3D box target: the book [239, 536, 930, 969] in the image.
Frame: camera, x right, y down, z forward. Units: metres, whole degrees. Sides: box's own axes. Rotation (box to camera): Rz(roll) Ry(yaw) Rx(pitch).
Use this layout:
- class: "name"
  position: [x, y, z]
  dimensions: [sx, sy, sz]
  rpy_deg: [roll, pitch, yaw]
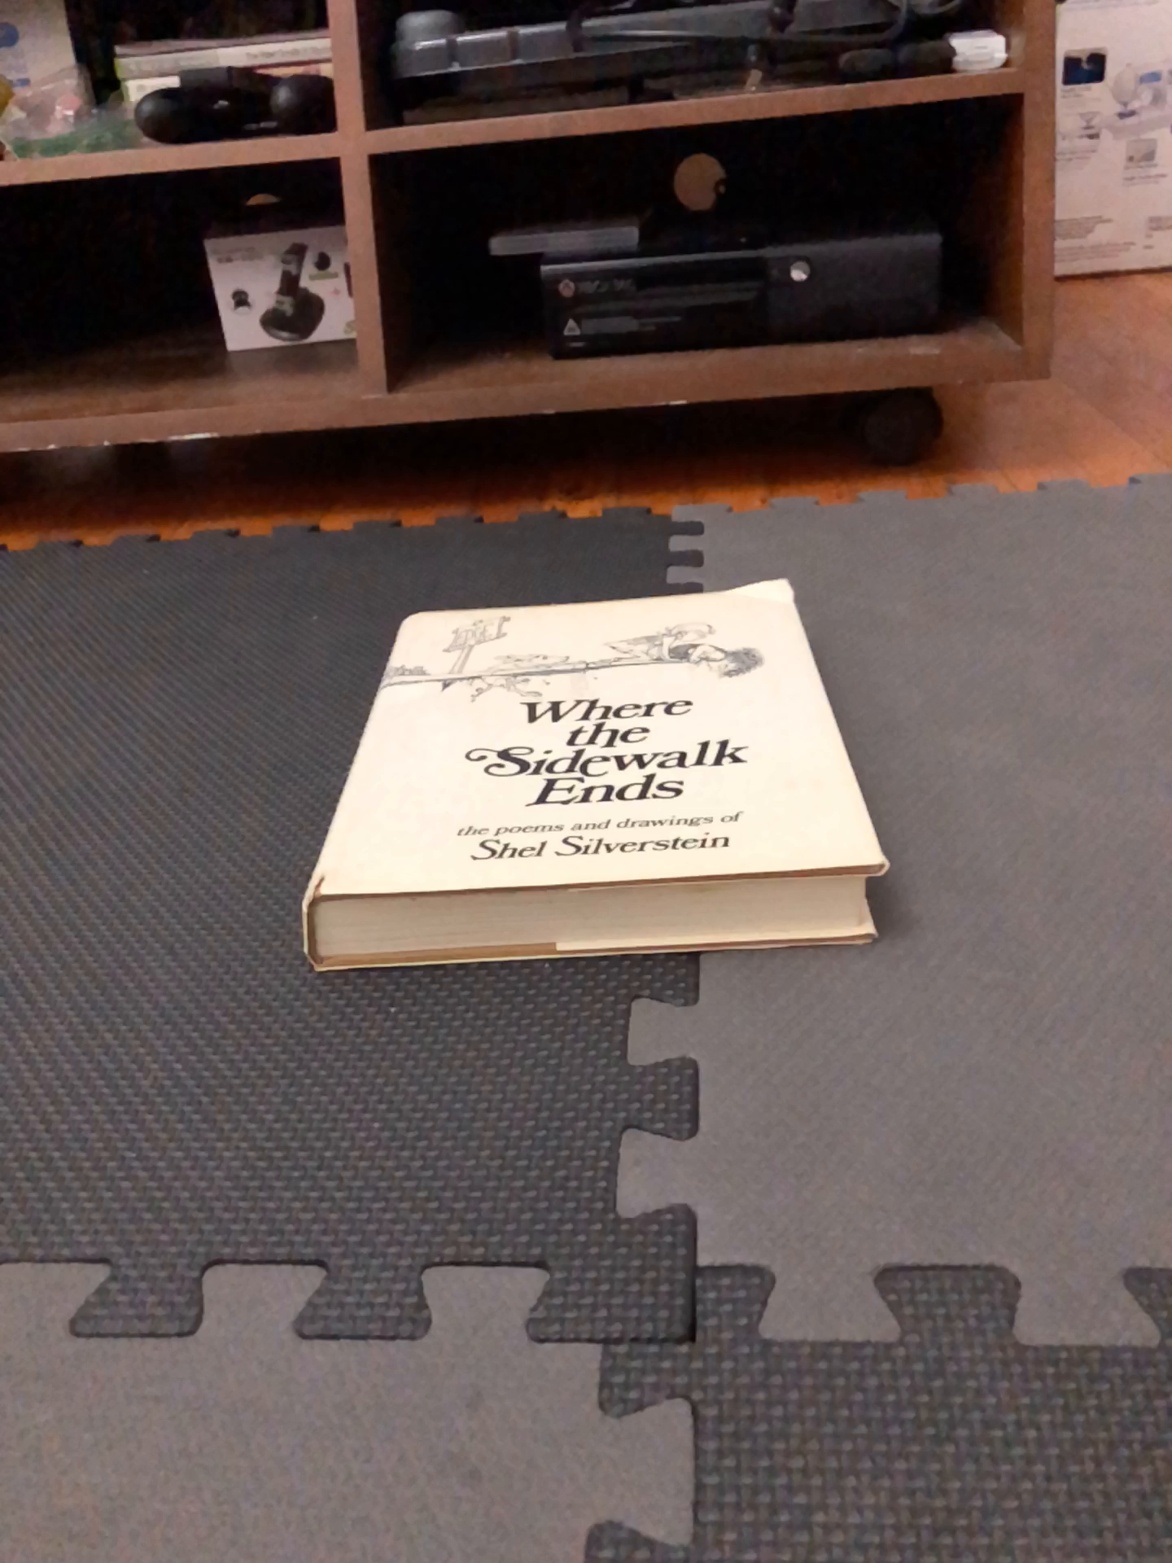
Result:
- class: "book"
  position: [0.004, -0.030, 0.503]
  dimensions: [0.200, 0.030, 0.282]
  rpy_deg: [-4, 28, 4]
